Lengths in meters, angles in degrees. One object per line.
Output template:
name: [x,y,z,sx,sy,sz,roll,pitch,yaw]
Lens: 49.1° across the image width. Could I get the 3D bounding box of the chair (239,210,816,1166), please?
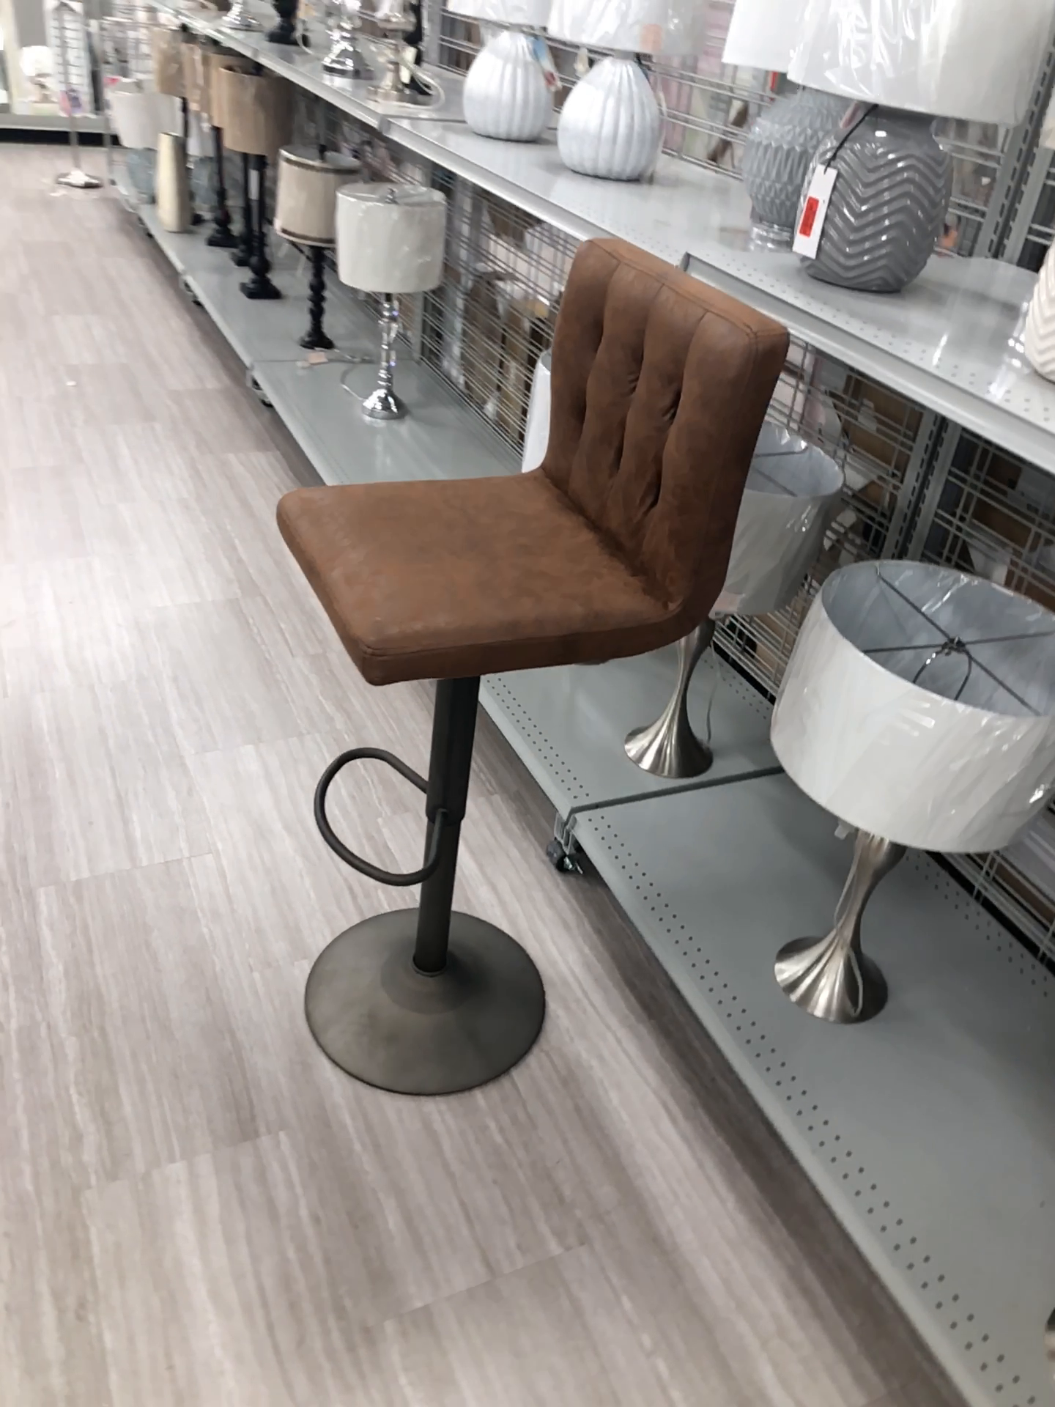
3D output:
chair: [-0.081,-0.002,1.517,0.469,1.102,0.476,-8,35,-22]
